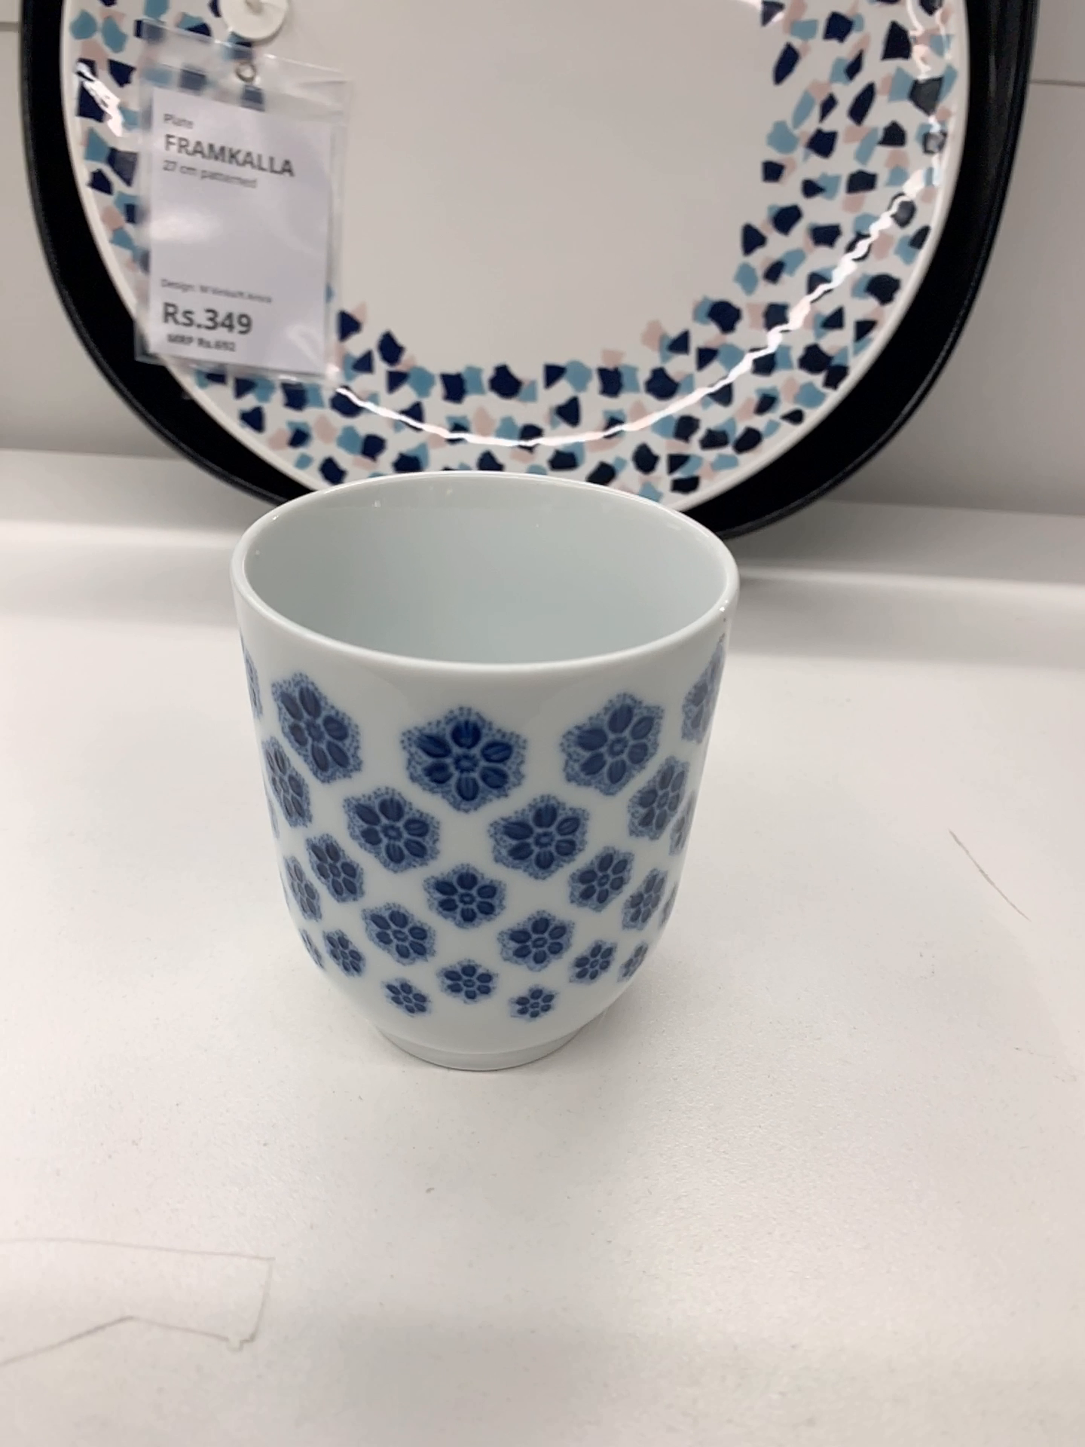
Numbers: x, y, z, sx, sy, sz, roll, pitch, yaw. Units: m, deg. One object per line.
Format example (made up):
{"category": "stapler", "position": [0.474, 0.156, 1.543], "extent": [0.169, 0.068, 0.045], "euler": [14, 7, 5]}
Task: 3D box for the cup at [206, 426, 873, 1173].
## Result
{"category": "cup", "position": [-0.007, 0.004, 0.185], "extent": [0.070, 0.080, 0.080], "euler": [-11, 32, -24]}
